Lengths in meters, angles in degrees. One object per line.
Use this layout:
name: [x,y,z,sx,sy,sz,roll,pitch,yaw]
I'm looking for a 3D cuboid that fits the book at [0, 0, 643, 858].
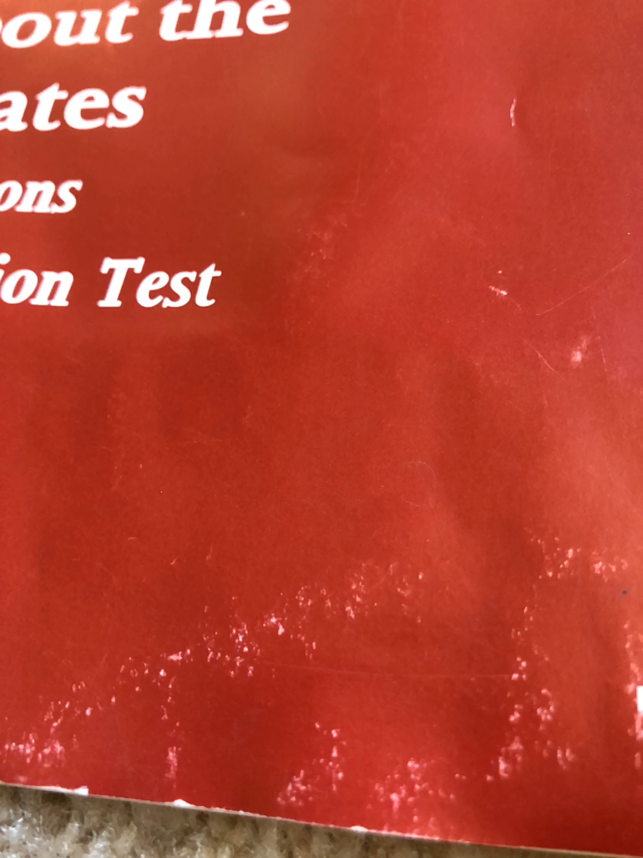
book: [-0.020,-0.084,0.137,0.208,0.028,0.274,2,65,9]
